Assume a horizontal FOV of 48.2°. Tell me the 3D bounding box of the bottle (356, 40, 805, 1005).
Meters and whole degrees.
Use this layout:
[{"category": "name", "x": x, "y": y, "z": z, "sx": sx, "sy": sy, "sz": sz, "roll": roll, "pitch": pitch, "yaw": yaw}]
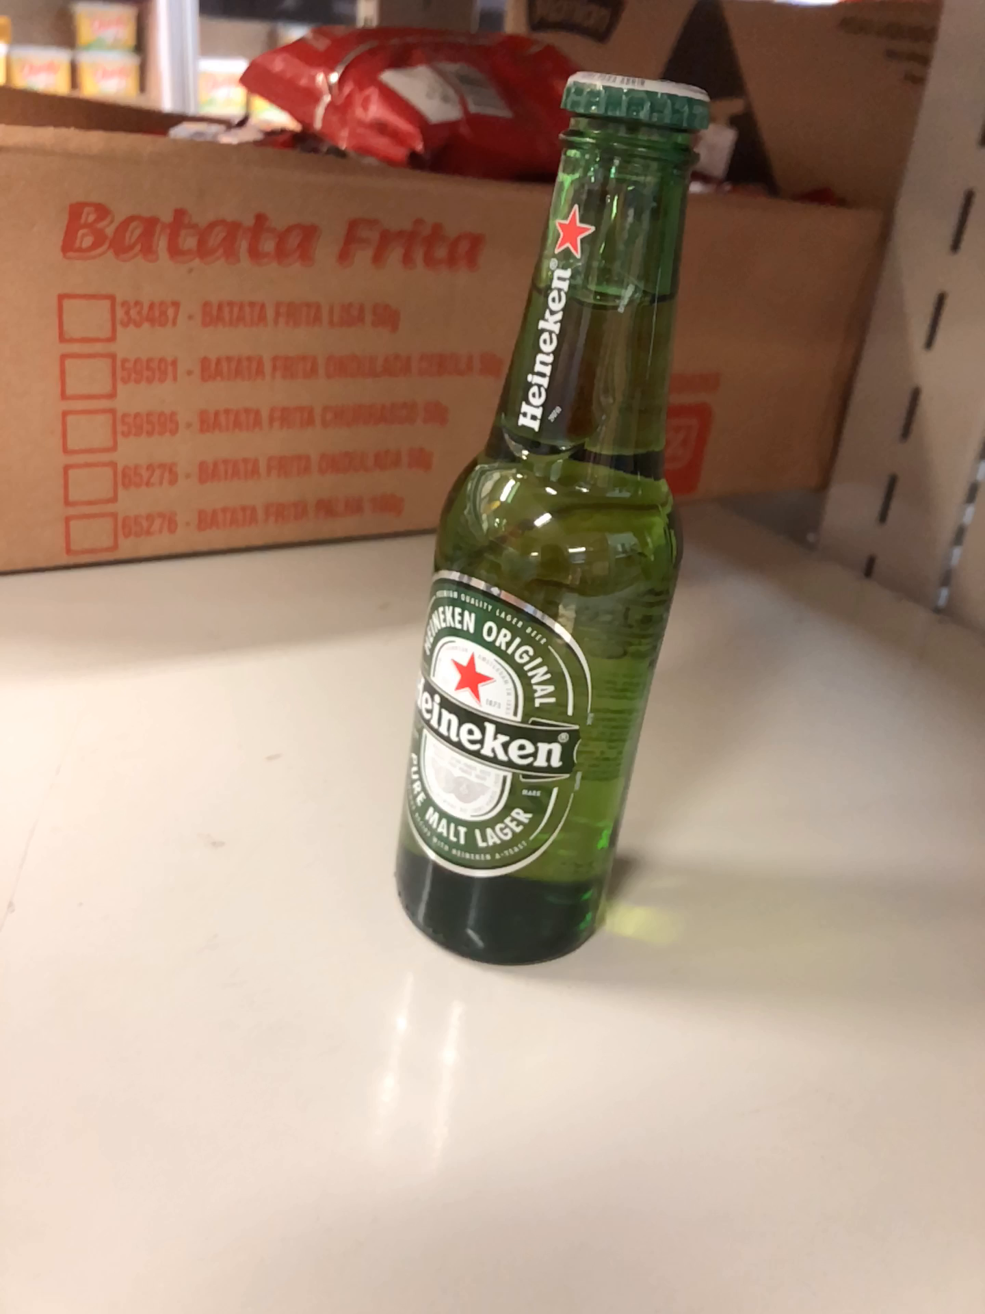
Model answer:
[{"category": "bottle", "x": 0.013, "y": -0.025, "z": 0.254, "sx": 0.060, "sy": 0.198, "sz": 0.060, "roll": 4, "pitch": 28, "yaw": -2}]
